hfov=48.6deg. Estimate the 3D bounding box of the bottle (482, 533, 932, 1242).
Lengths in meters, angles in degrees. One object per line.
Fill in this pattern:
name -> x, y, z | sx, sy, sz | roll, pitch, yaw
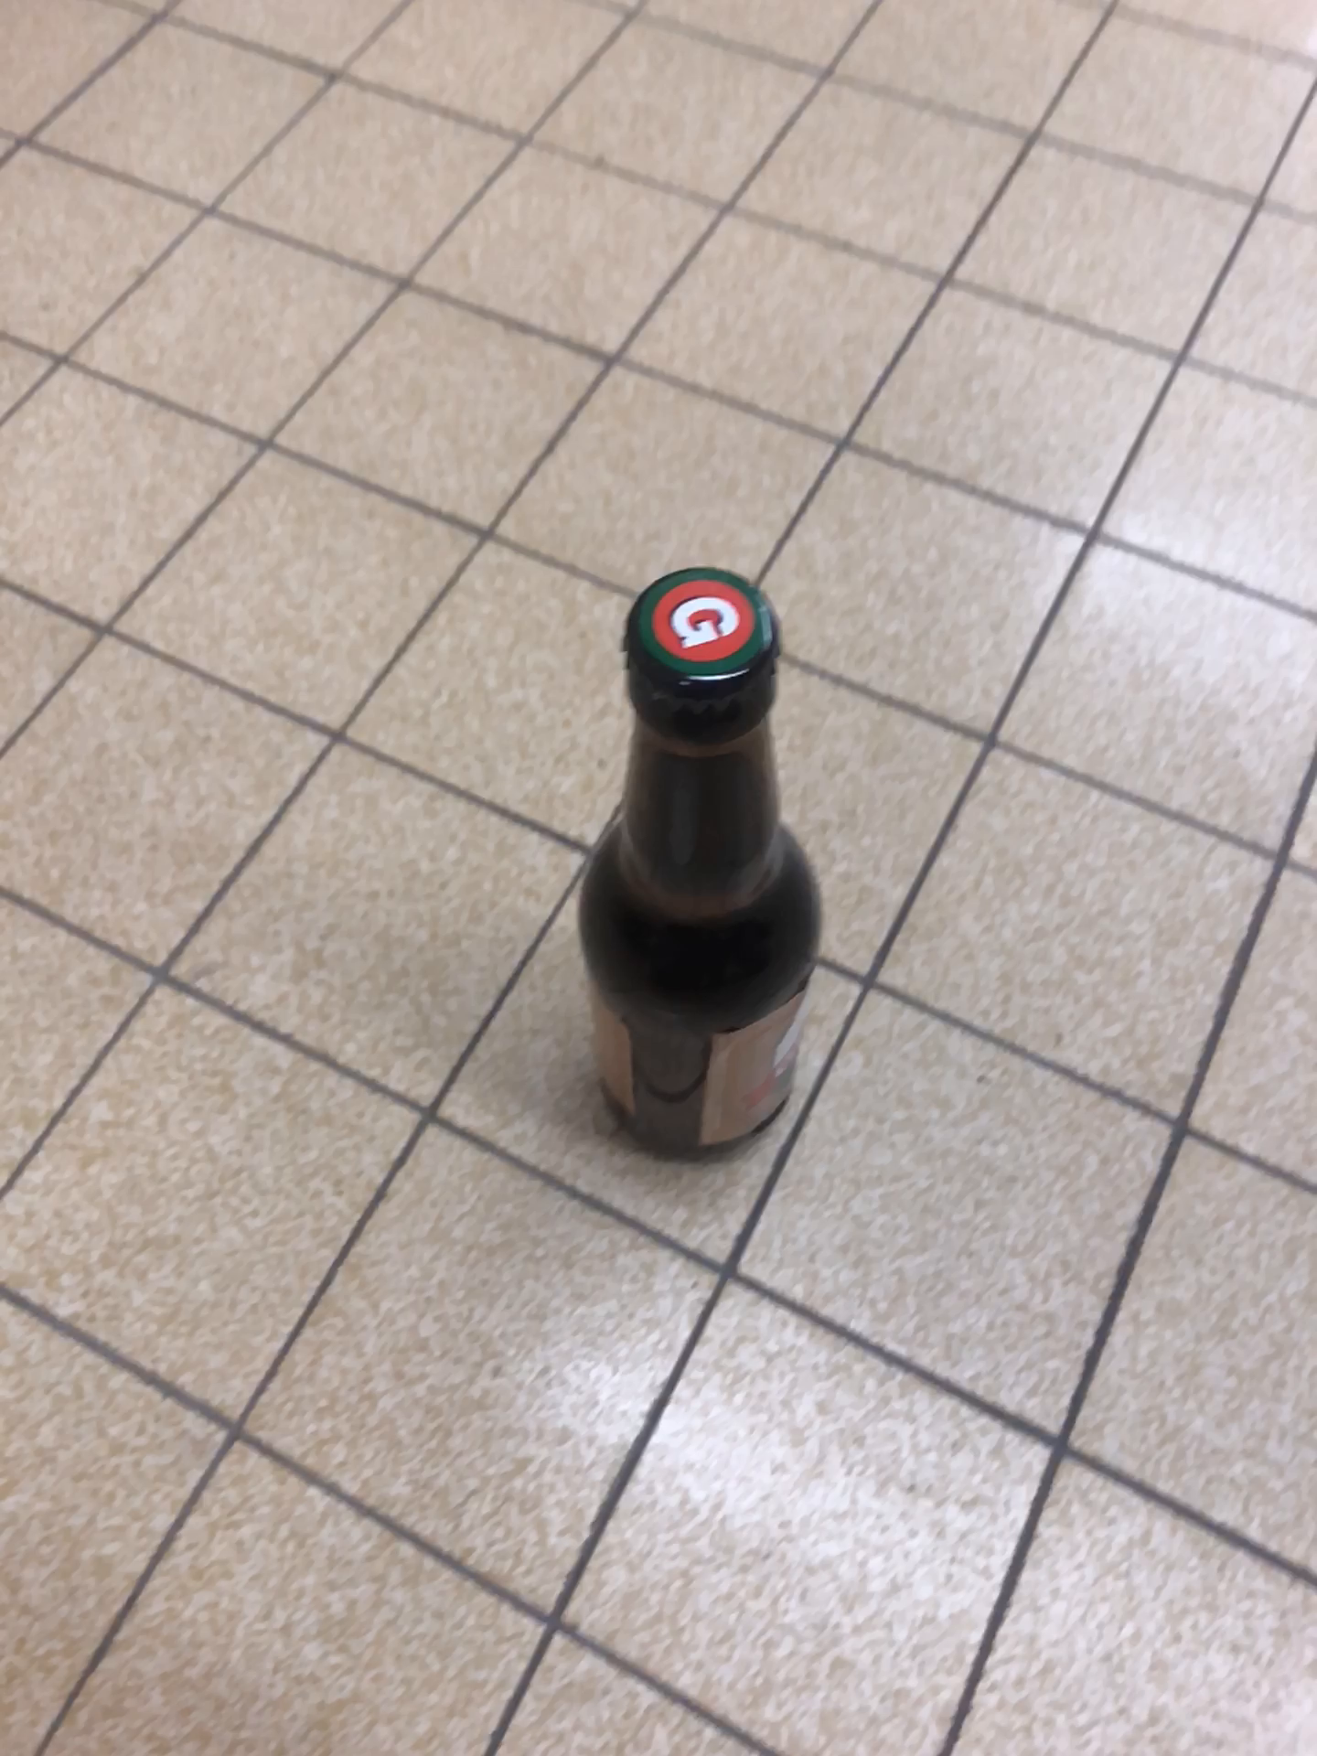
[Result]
bottle -> 0.010, 0.022, 0.340 | 0.070, 0.219, 0.070 | -1, 62, 2
